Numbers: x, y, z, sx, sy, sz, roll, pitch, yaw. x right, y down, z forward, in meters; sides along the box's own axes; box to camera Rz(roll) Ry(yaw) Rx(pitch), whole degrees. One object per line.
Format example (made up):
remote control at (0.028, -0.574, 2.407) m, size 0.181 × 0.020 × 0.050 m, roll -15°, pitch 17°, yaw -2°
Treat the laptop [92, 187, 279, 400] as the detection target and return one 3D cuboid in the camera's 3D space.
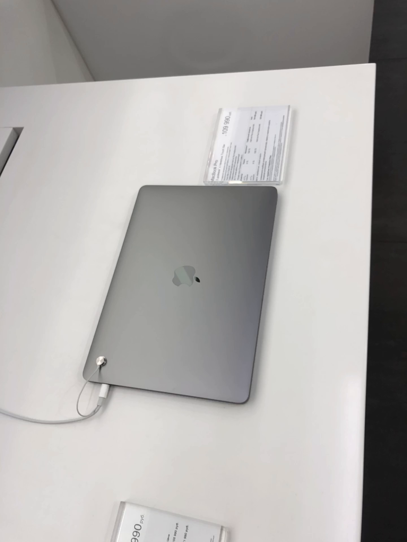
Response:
laptop at (-0.017, 0.008, 0.598) m, size 0.198 × 0.001 × 0.293 m, roll 4°, pitch 63°, yaw 16°
